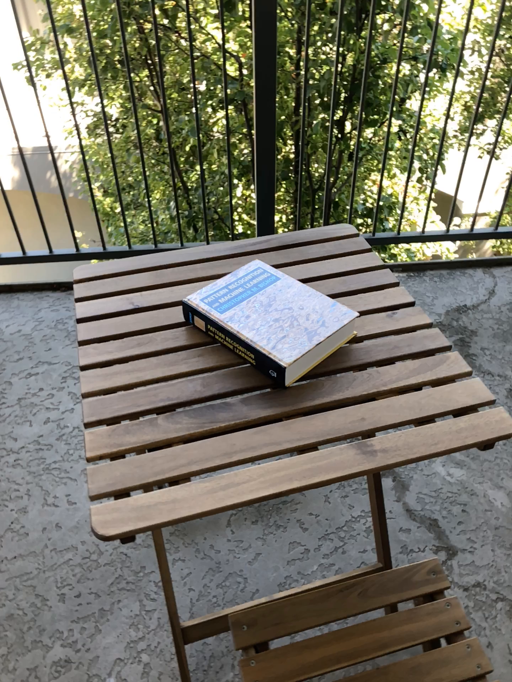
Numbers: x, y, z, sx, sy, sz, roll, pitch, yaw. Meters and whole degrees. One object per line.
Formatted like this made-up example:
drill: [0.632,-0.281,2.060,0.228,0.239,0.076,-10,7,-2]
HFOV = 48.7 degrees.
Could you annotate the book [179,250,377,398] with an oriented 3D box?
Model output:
book: [0.032,-0.041,0.909,0.251,0.050,0.190,33,52,32]
